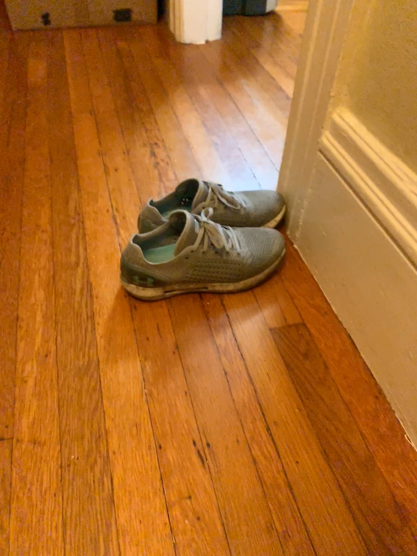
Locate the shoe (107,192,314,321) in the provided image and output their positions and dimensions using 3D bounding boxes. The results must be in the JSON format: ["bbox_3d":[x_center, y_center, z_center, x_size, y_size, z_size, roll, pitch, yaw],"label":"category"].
[{"bbox_3d":[0.000,-0.037,0.636,0.270,0.090,0.111,-12,49,-14],"label":"shoe"}]

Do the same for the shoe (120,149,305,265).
[{"bbox_3d":[0.005,-0.119,0.687,0.260,0.080,0.111,-16,50,-17],"label":"shoe"}]
